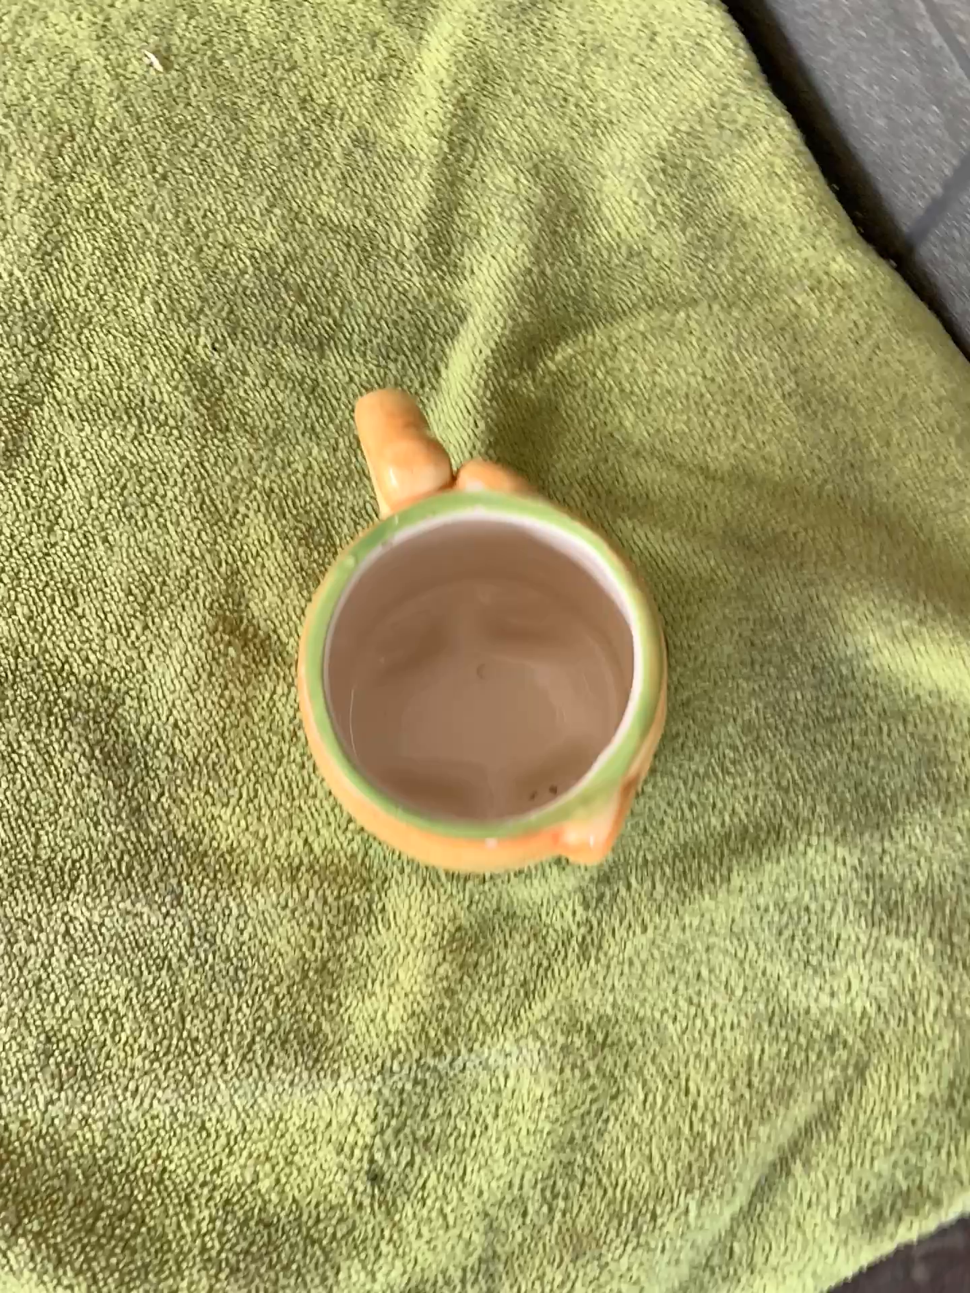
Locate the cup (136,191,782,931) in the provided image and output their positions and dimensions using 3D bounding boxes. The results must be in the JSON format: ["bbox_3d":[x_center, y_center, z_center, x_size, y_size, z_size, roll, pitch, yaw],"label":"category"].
[{"bbox_3d":[-0.009,-0.013,0.247,0.080,0.100,0.130,-25,81,-6],"label":"cup"}]
